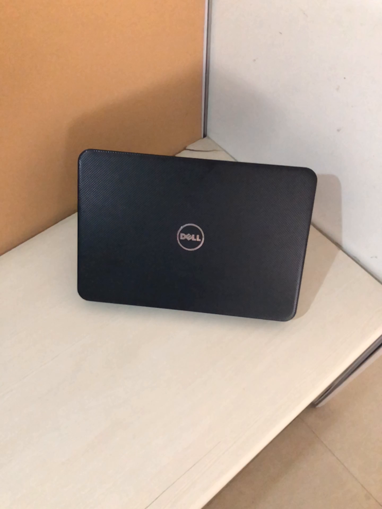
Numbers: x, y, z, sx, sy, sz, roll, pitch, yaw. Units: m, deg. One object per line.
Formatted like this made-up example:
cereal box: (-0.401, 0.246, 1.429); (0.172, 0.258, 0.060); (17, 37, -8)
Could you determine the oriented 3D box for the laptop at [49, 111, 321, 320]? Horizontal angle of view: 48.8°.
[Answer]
laptop: (0.004, -0.064, 0.691); (0.351, 0.179, 0.255); (6, 55, 1)
